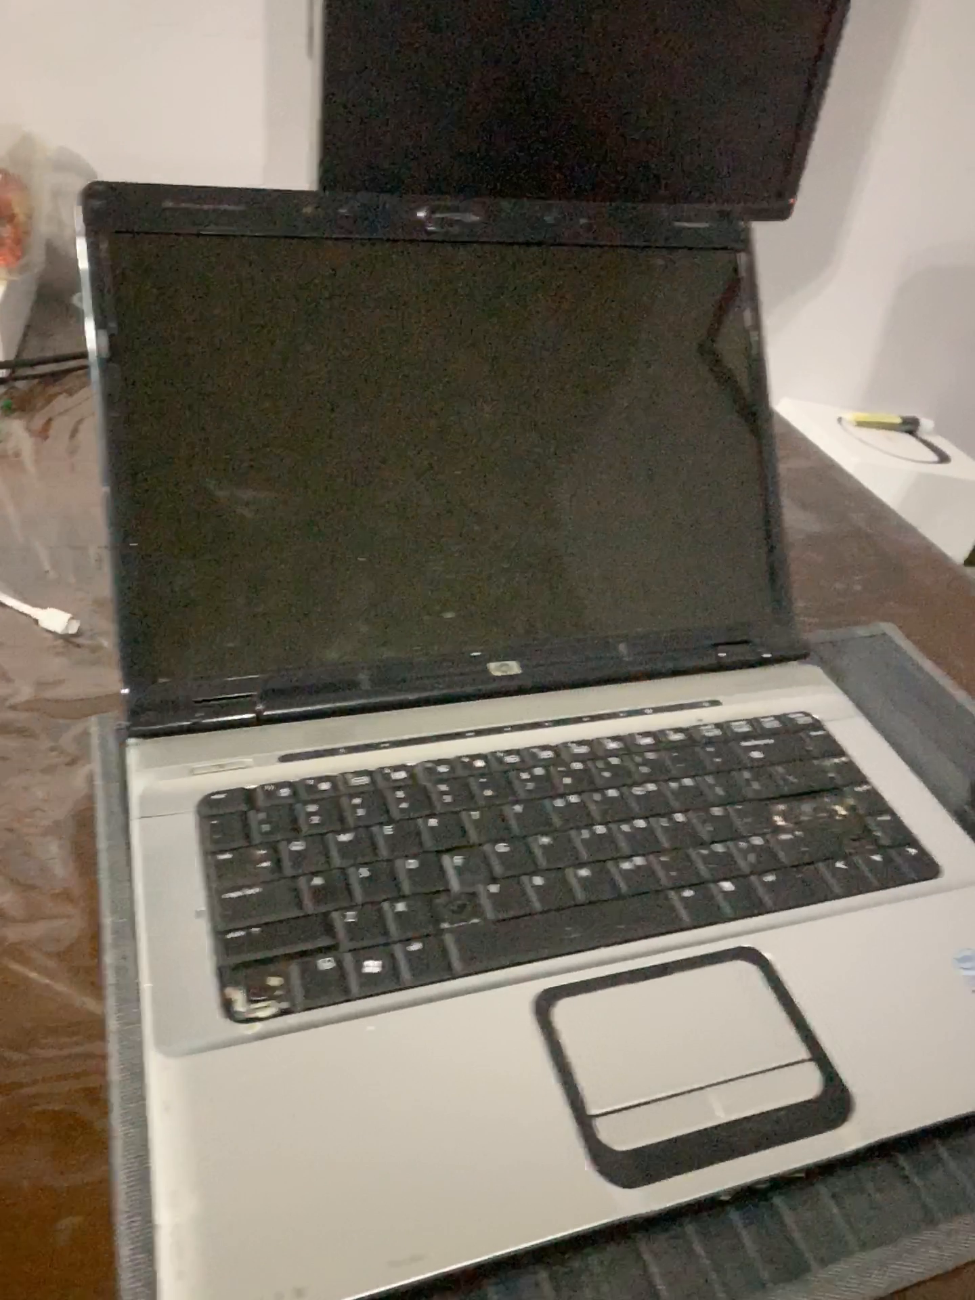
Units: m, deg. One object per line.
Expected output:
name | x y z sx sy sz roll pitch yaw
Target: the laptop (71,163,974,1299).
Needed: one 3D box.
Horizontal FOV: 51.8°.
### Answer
laptop | 0.030 -0.037 0.409 0.349 0.186 0.404 -6 39 -19
